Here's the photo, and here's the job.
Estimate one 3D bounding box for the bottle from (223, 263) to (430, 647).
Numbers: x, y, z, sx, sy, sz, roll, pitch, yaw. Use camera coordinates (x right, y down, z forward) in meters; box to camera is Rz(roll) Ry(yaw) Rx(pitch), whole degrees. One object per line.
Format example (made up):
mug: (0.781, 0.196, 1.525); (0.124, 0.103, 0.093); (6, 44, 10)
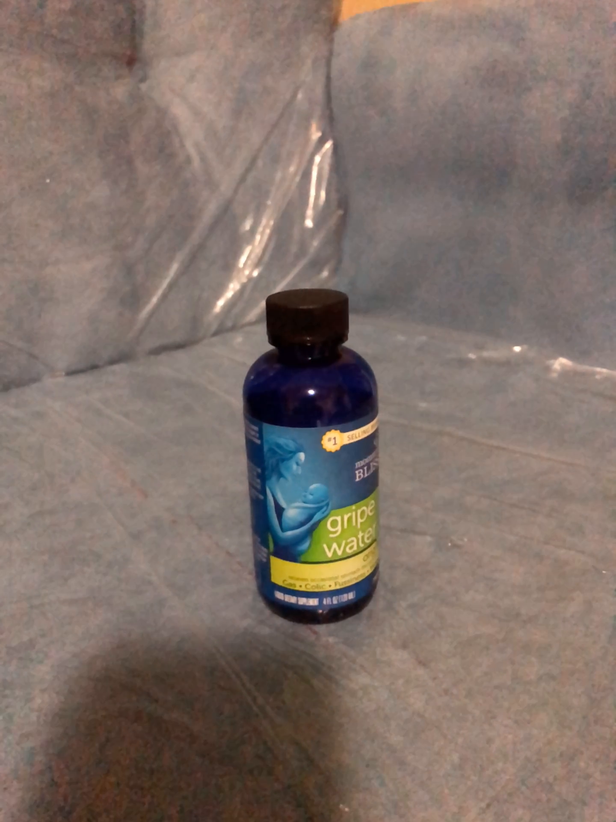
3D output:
bottle: (0.004, 0.014, 0.246); (0.050, 0.120, 0.050); (0, 24, 0)
